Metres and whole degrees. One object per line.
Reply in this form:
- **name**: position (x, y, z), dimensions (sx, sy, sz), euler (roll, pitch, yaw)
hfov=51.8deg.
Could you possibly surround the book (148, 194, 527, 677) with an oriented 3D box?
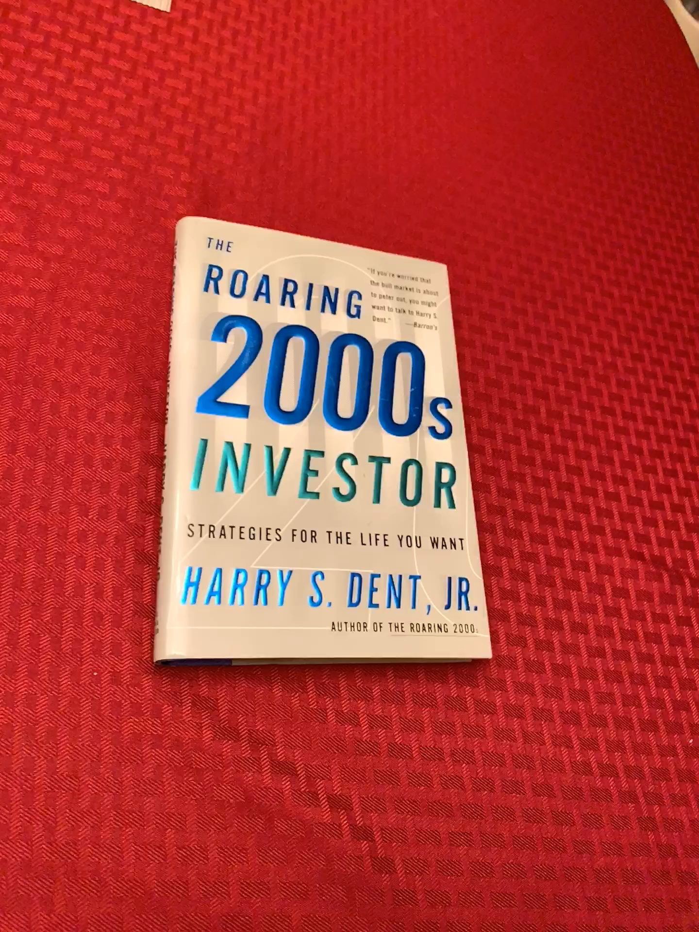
- **book**: position (-0.010, -0.018, 0.376), dimensions (0.170, 0.040, 0.240), euler (5, 65, -20)
